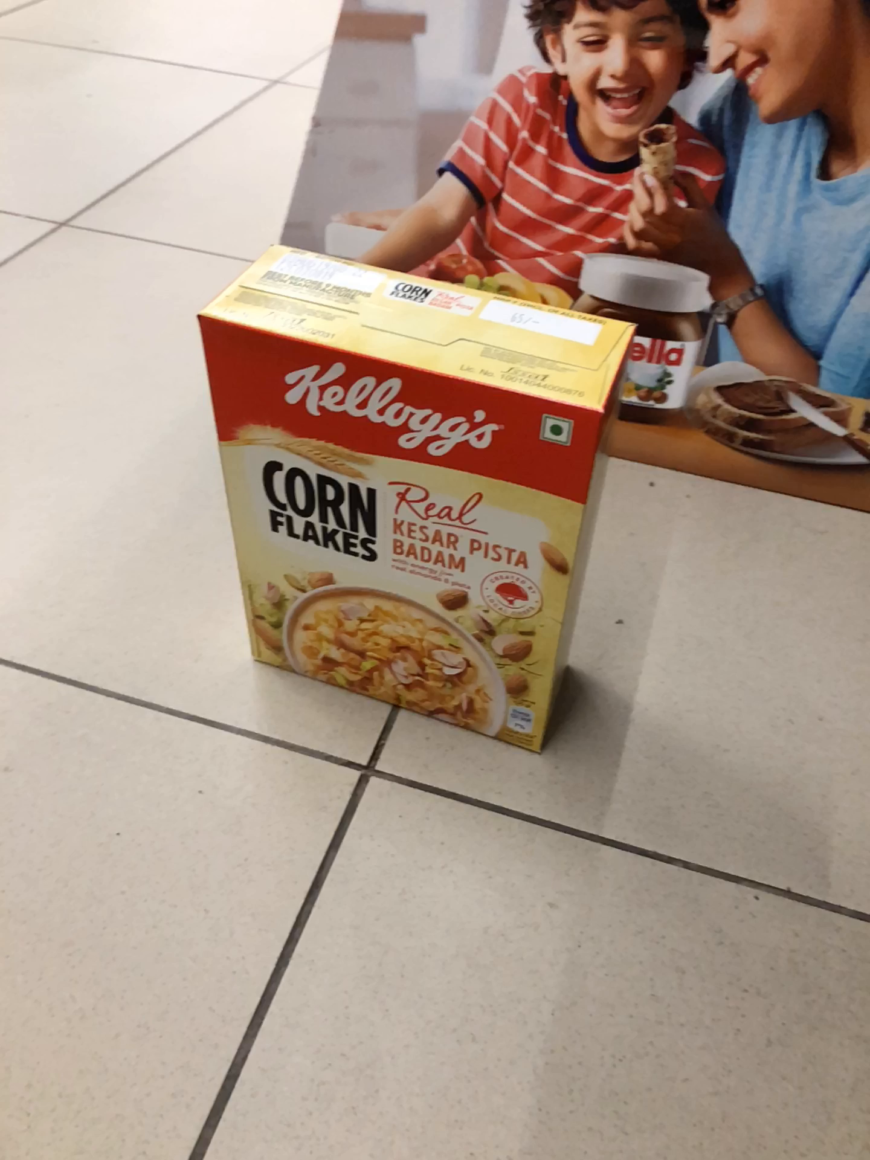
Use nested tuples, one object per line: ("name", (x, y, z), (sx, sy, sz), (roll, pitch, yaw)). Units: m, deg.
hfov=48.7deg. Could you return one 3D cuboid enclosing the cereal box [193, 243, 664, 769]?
("cereal box", (-0.005, -0.022, 0.368), (0.140, 0.169, 0.060), (15, 44, 11))
